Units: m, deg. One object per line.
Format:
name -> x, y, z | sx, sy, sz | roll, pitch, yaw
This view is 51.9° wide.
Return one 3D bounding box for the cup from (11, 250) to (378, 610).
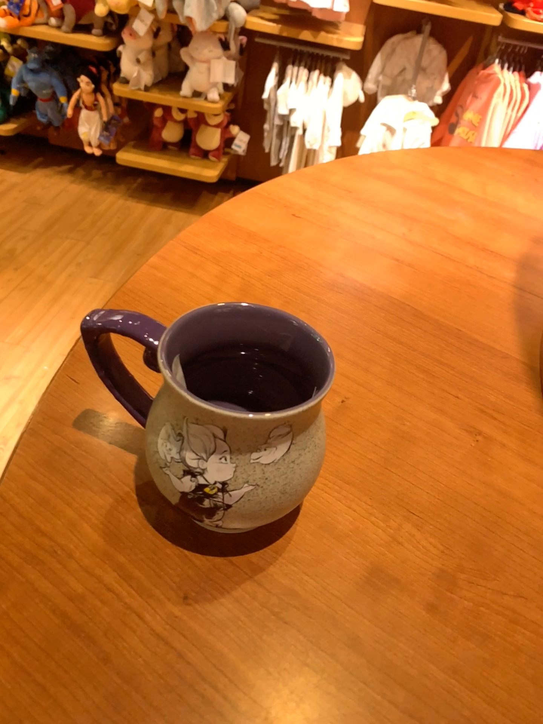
cup -> -0.038, 0.027, 0.307 | 0.140, 0.099, 0.115 | 24, 41, 17
